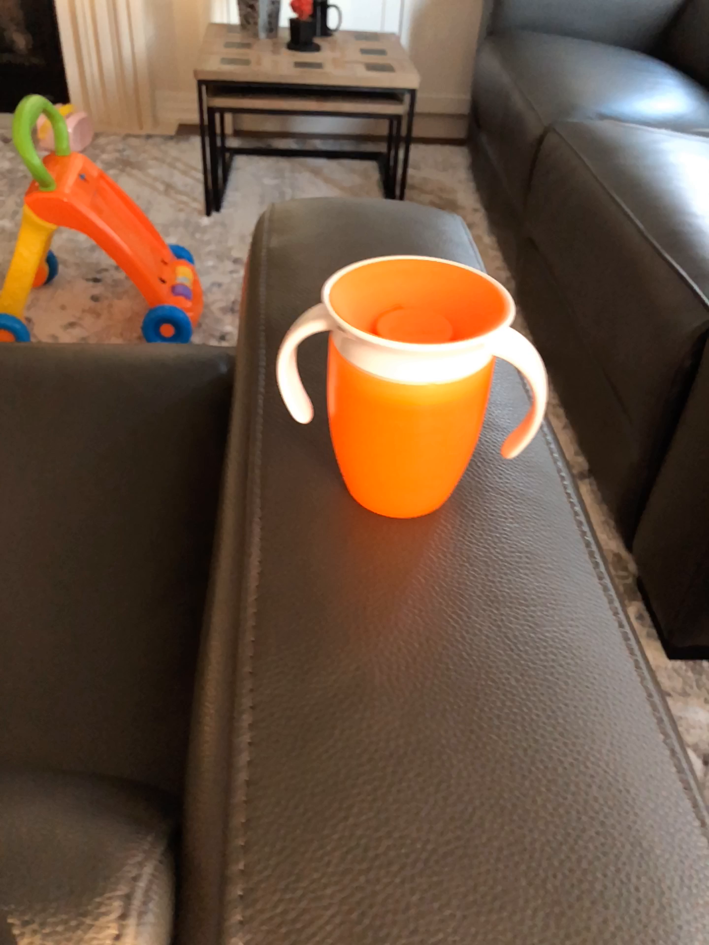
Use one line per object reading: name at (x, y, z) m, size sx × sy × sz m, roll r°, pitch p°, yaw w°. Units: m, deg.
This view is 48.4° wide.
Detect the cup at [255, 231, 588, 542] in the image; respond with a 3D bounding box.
cup at (0.027, -0.040, 0.359) m, size 0.126 × 0.096 × 0.083 m, roll 8°, pitch 40°, yaw 4°
